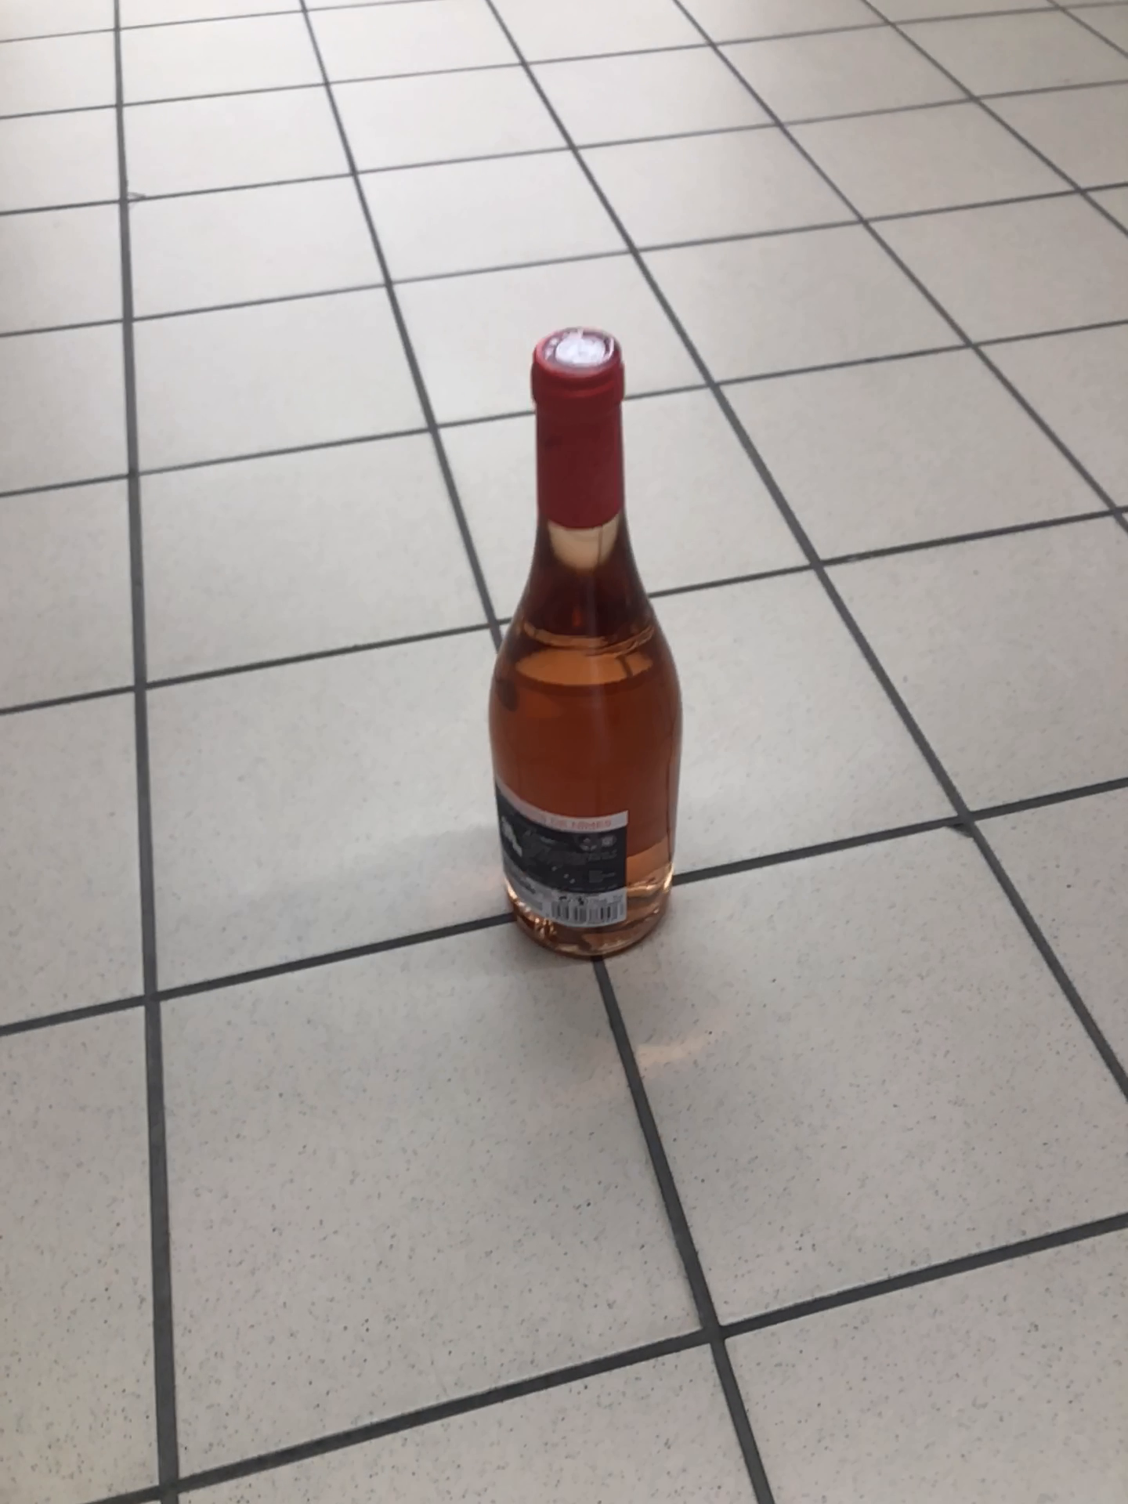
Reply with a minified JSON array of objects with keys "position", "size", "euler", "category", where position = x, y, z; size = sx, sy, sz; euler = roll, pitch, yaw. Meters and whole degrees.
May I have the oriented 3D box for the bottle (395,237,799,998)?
[{"position":[0.013,-0.032,0.474],"size":[0.090,0.278,0.091],"euler":[0,48,0],"category":"bottle"}]
